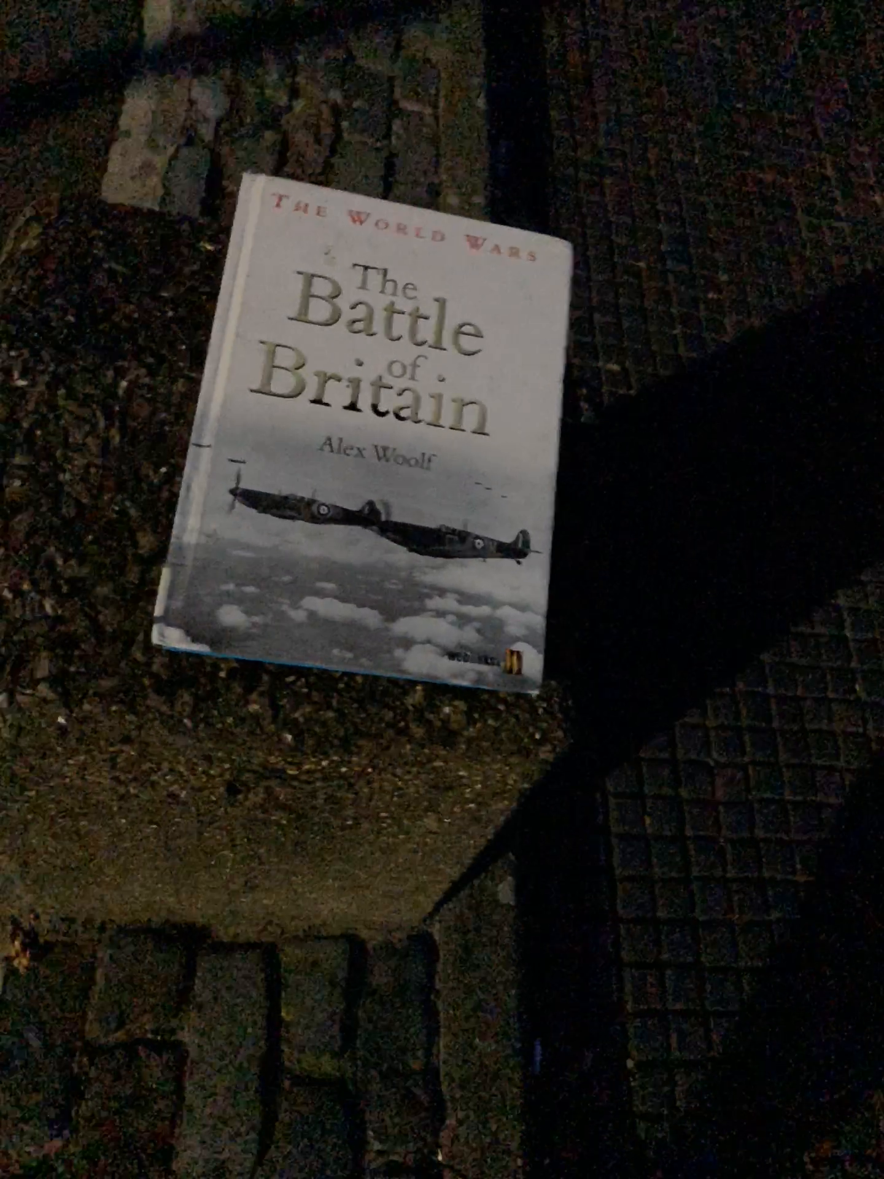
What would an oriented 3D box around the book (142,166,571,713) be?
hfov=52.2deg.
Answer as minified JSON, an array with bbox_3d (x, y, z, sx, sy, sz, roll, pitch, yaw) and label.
[{"bbox_3d":[-0.030,-0.075,0.431,0.170,0.020,0.245,9,73,-10],"label":"book"}]
